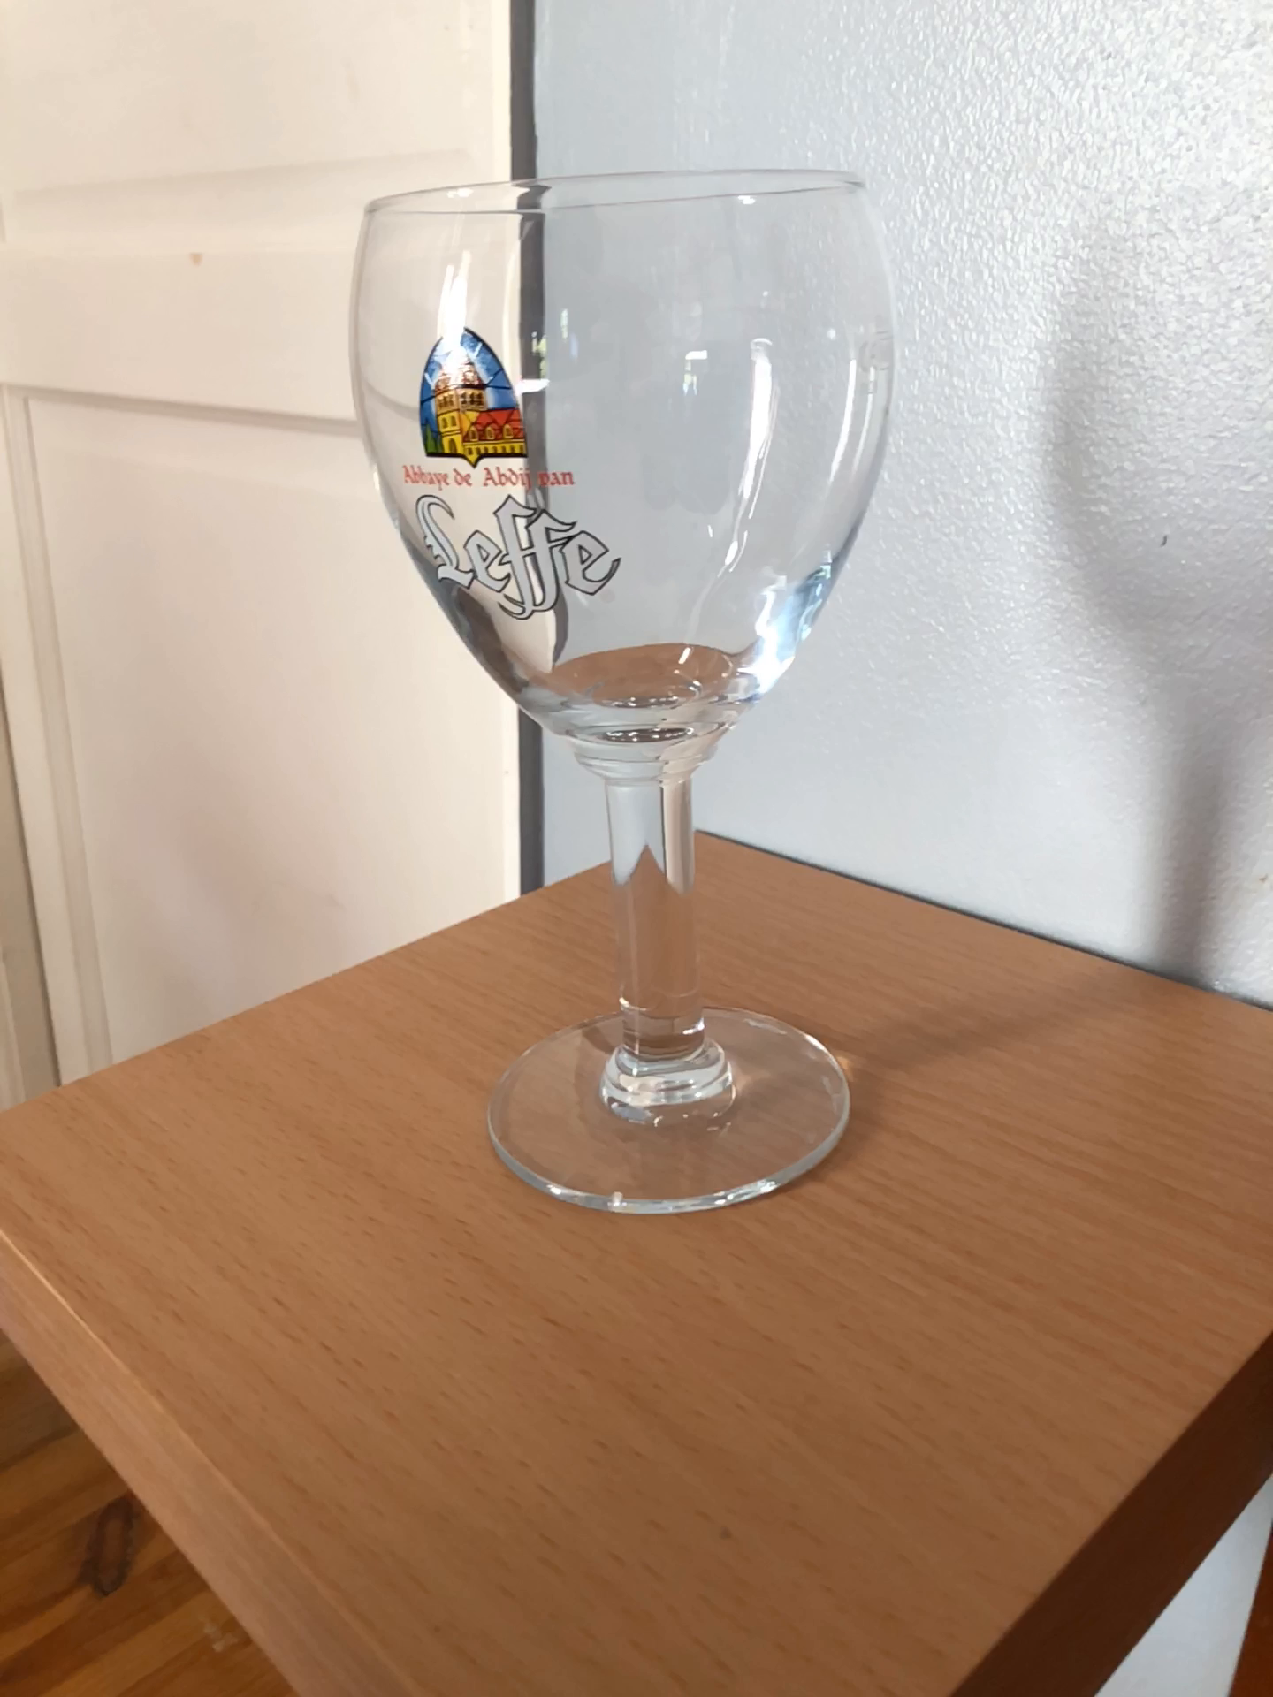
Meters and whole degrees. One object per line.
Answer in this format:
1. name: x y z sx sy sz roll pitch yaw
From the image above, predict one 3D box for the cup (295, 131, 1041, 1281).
1. cup: 0.008 -0.034 0.285 0.095 0.185 0.101 1 20 0
